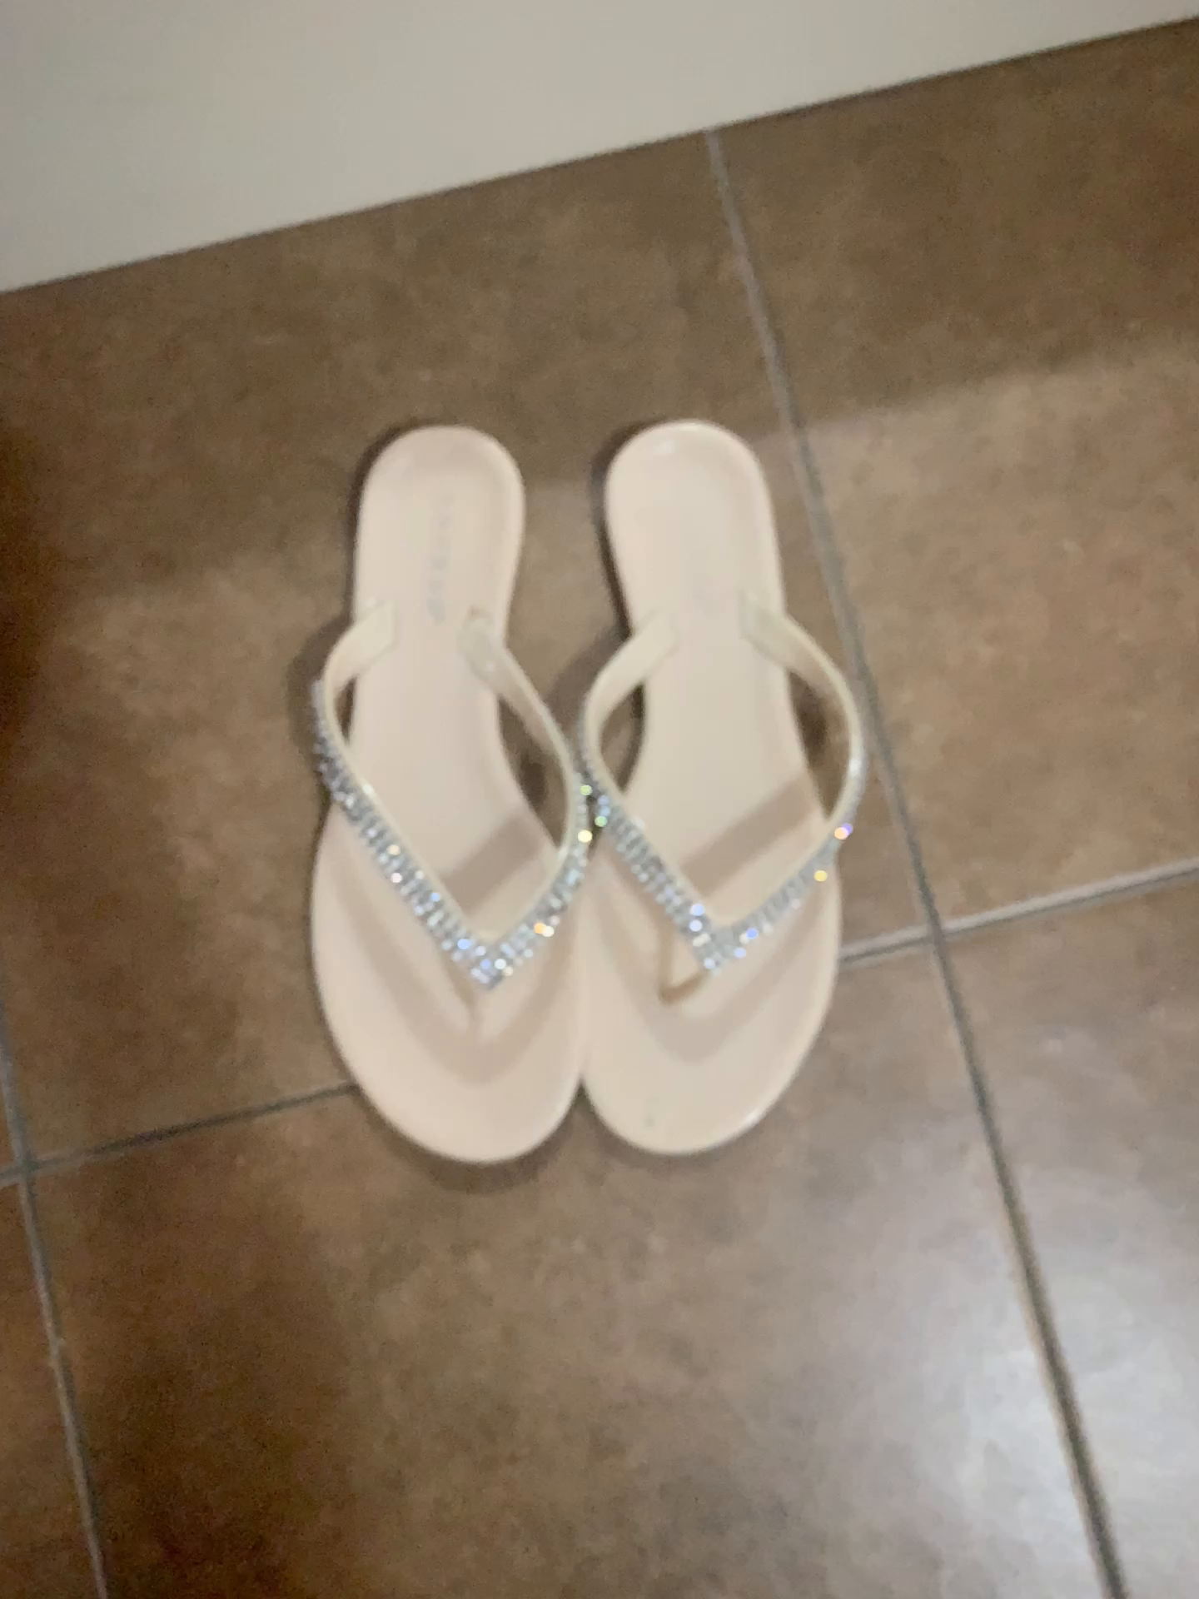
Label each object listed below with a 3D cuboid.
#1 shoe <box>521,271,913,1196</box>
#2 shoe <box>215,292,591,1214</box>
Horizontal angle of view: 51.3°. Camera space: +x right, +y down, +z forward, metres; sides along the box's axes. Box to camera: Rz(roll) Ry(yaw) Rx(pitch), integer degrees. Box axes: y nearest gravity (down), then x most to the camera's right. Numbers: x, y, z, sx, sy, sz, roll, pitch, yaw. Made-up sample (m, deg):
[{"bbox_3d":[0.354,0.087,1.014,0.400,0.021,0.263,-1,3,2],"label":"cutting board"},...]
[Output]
[{"bbox_3d":[0.030,-0.019,0.373,0.091,0.067,0.249,-3,85,0],"label":"shoe"},{"bbox_3d":[-0.056,-0.014,0.375,0.093,0.067,0.249,-3,85,0],"label":"shoe"}]
